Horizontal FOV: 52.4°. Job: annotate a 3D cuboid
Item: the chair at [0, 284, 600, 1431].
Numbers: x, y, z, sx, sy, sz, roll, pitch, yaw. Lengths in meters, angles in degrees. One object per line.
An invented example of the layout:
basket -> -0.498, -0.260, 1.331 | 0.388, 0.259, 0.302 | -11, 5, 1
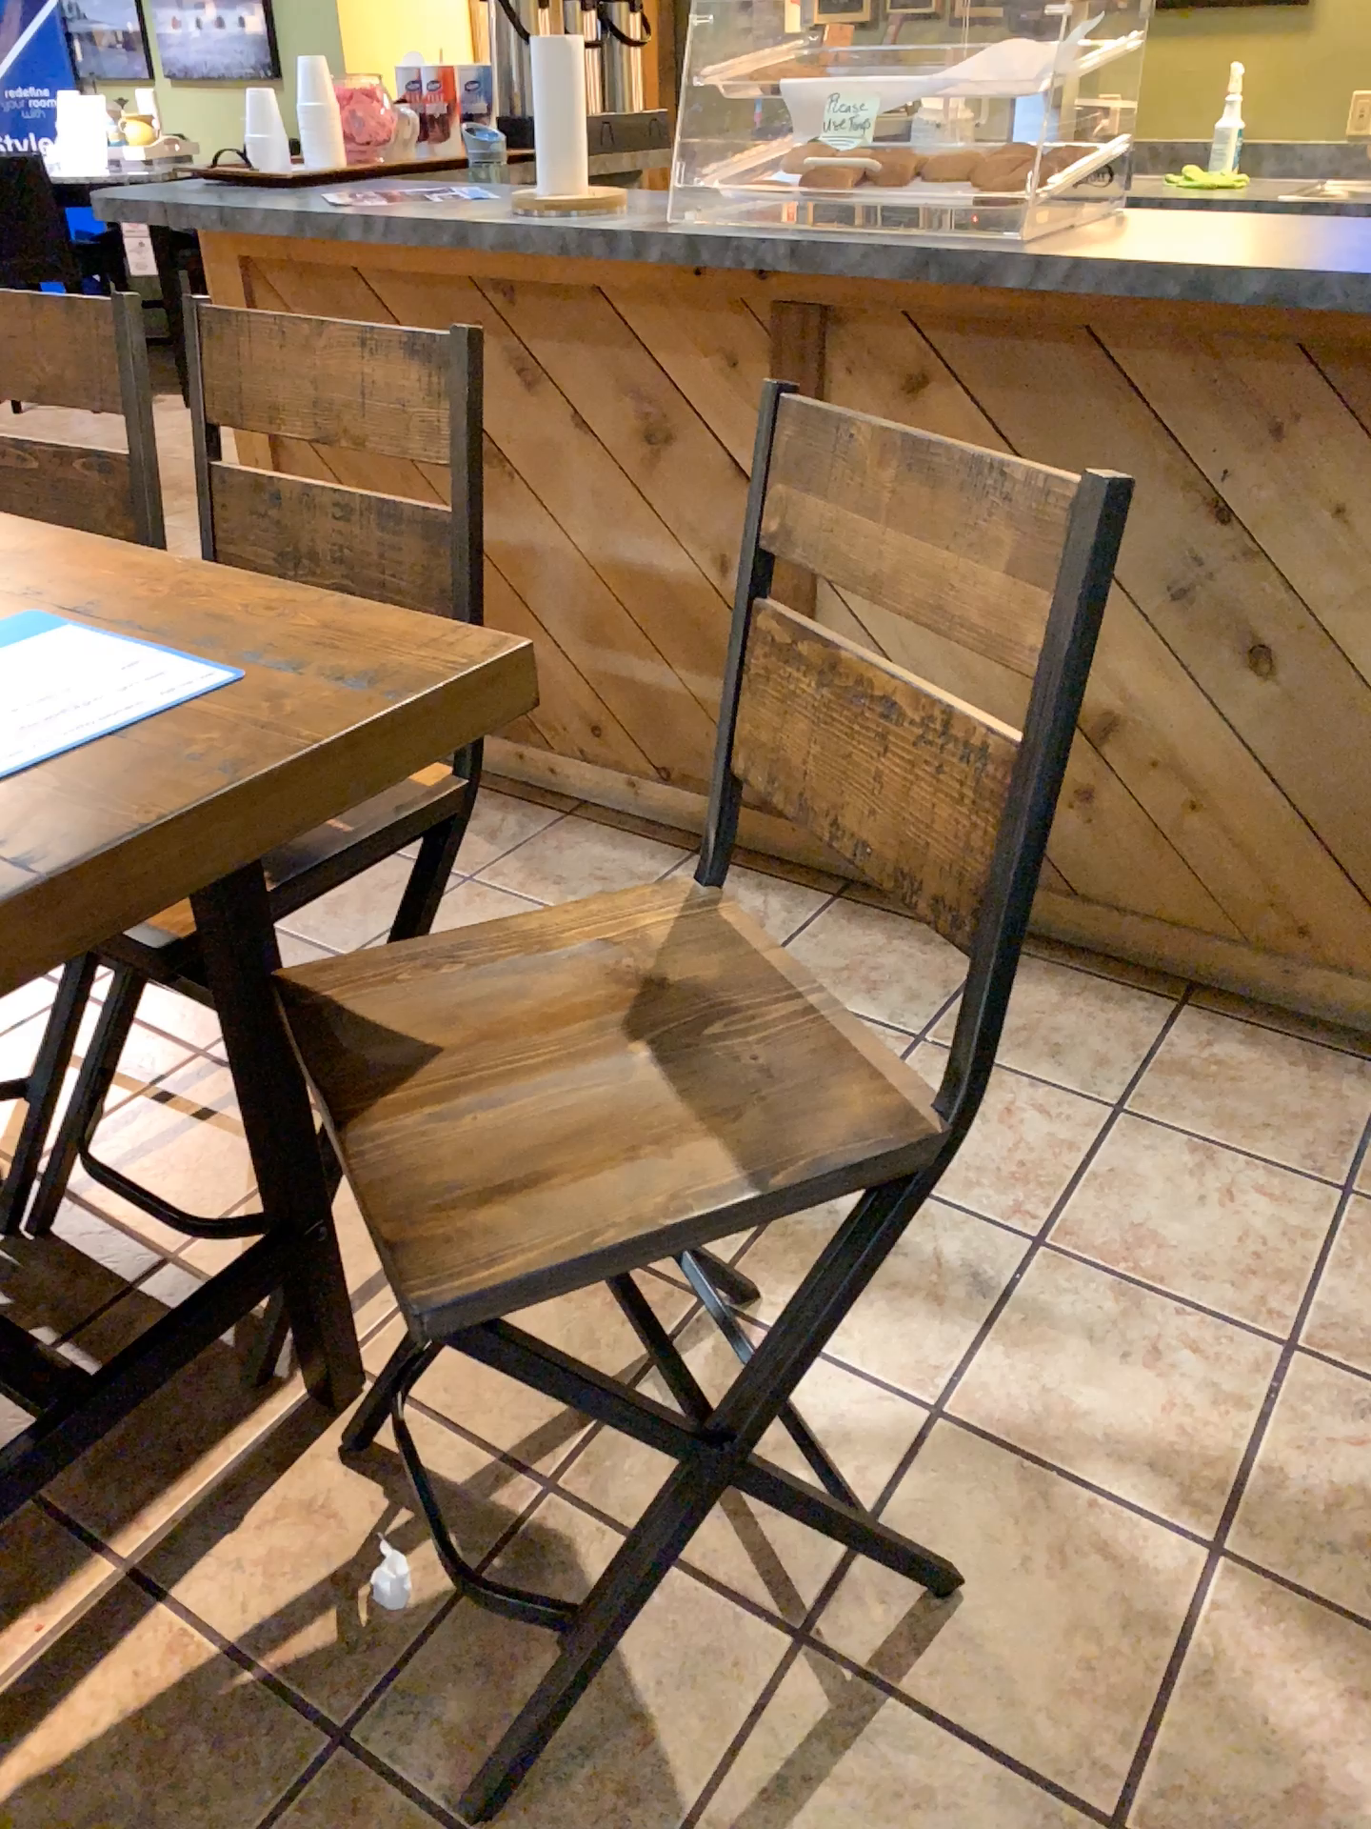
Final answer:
chair -> -0.511, -0.085, 1.542 | 0.493, 1.003, 0.617 | 19, 39, 29

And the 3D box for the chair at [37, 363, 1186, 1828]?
chair -> -0.042, 0.146, 1.135 | 0.616, 0.983, 0.444 | -16, 32, -18
